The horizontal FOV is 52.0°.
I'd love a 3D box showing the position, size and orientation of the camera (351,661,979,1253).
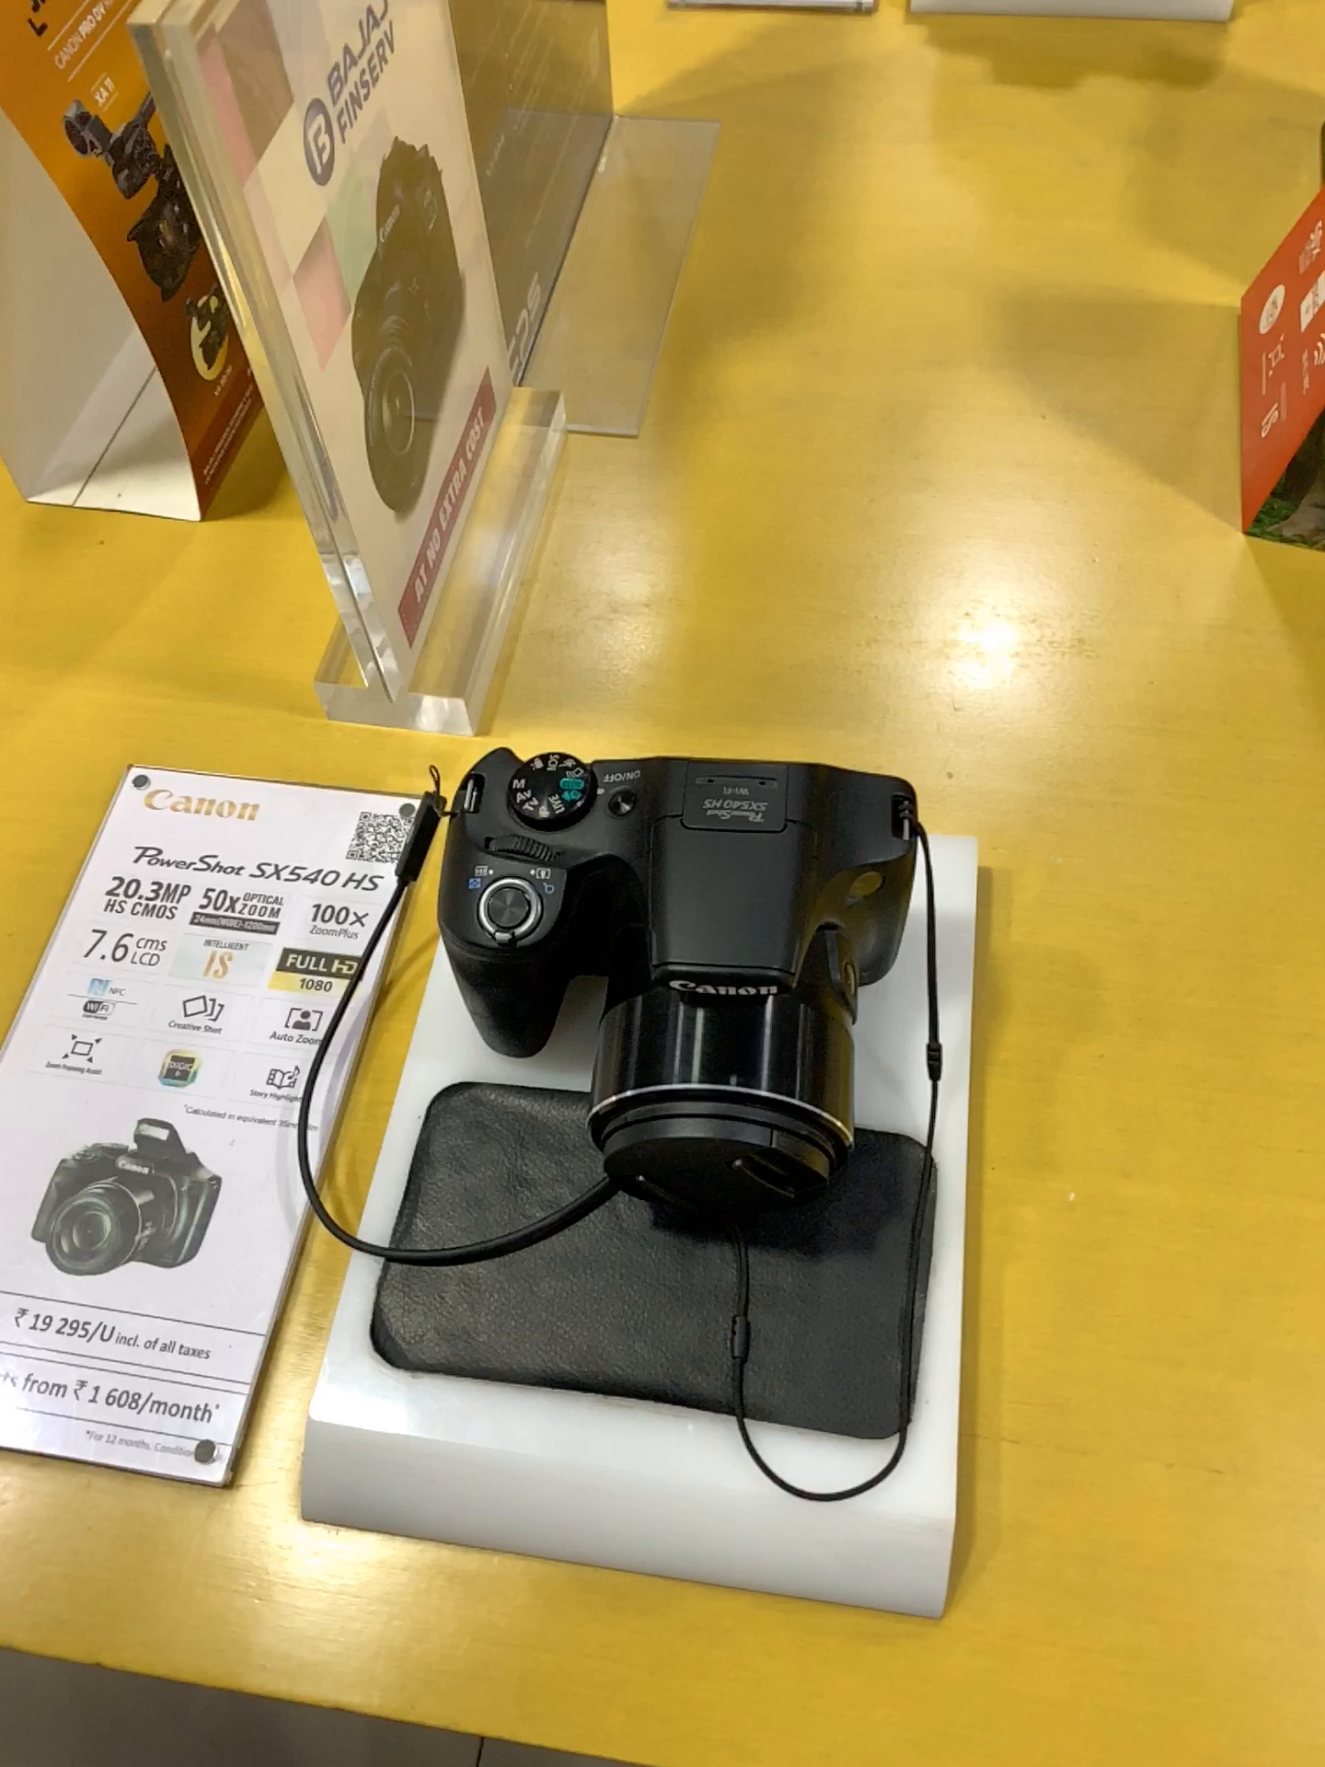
[{"bbox_3d":[0.006,0.016,0.316,0.120,0.070,0.110,3,59,6],"label":"camera"}]
